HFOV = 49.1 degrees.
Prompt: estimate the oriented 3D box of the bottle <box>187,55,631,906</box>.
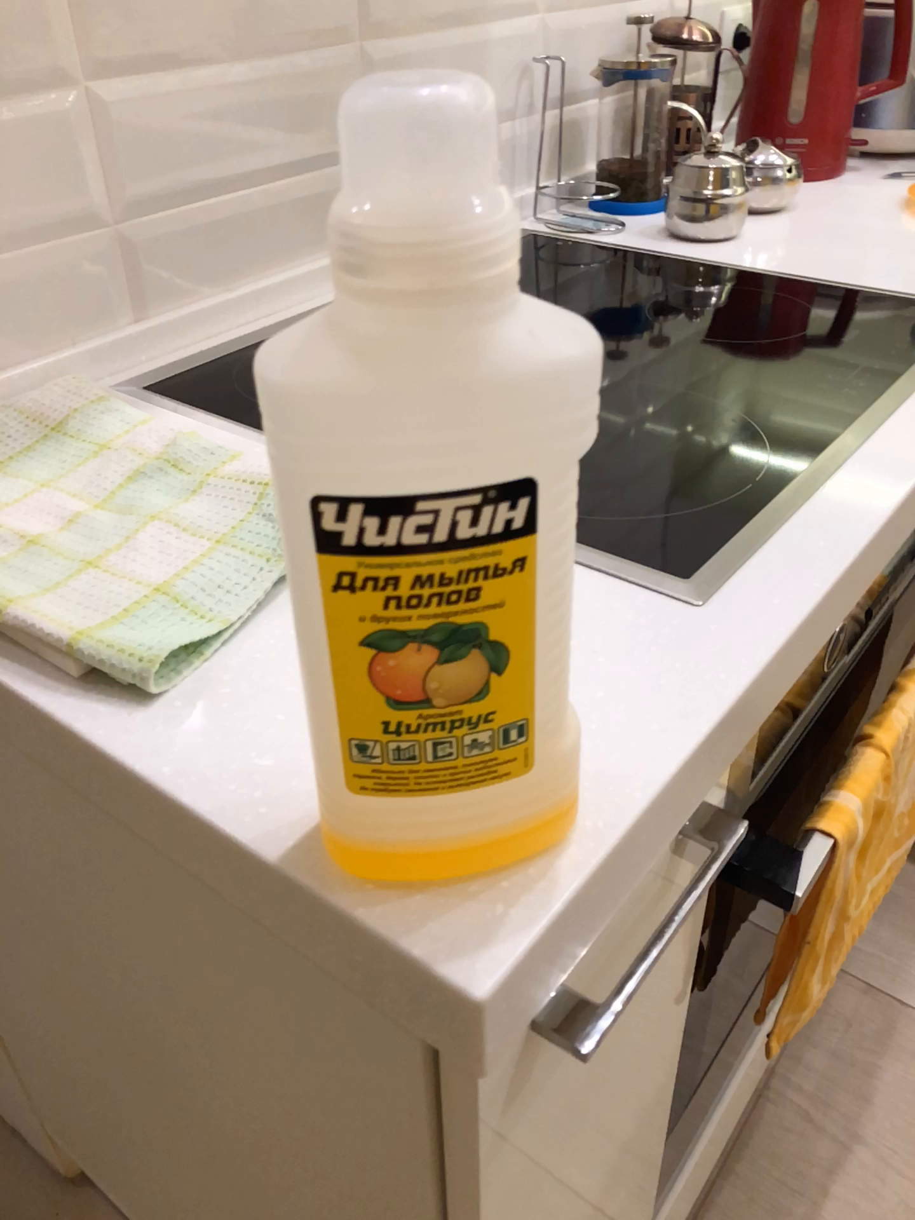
[{"bbox_3d":[-0.011,-0.025,0.325,0.102,0.264,0.062,-7,34,-8],"label":"bottle"}]
